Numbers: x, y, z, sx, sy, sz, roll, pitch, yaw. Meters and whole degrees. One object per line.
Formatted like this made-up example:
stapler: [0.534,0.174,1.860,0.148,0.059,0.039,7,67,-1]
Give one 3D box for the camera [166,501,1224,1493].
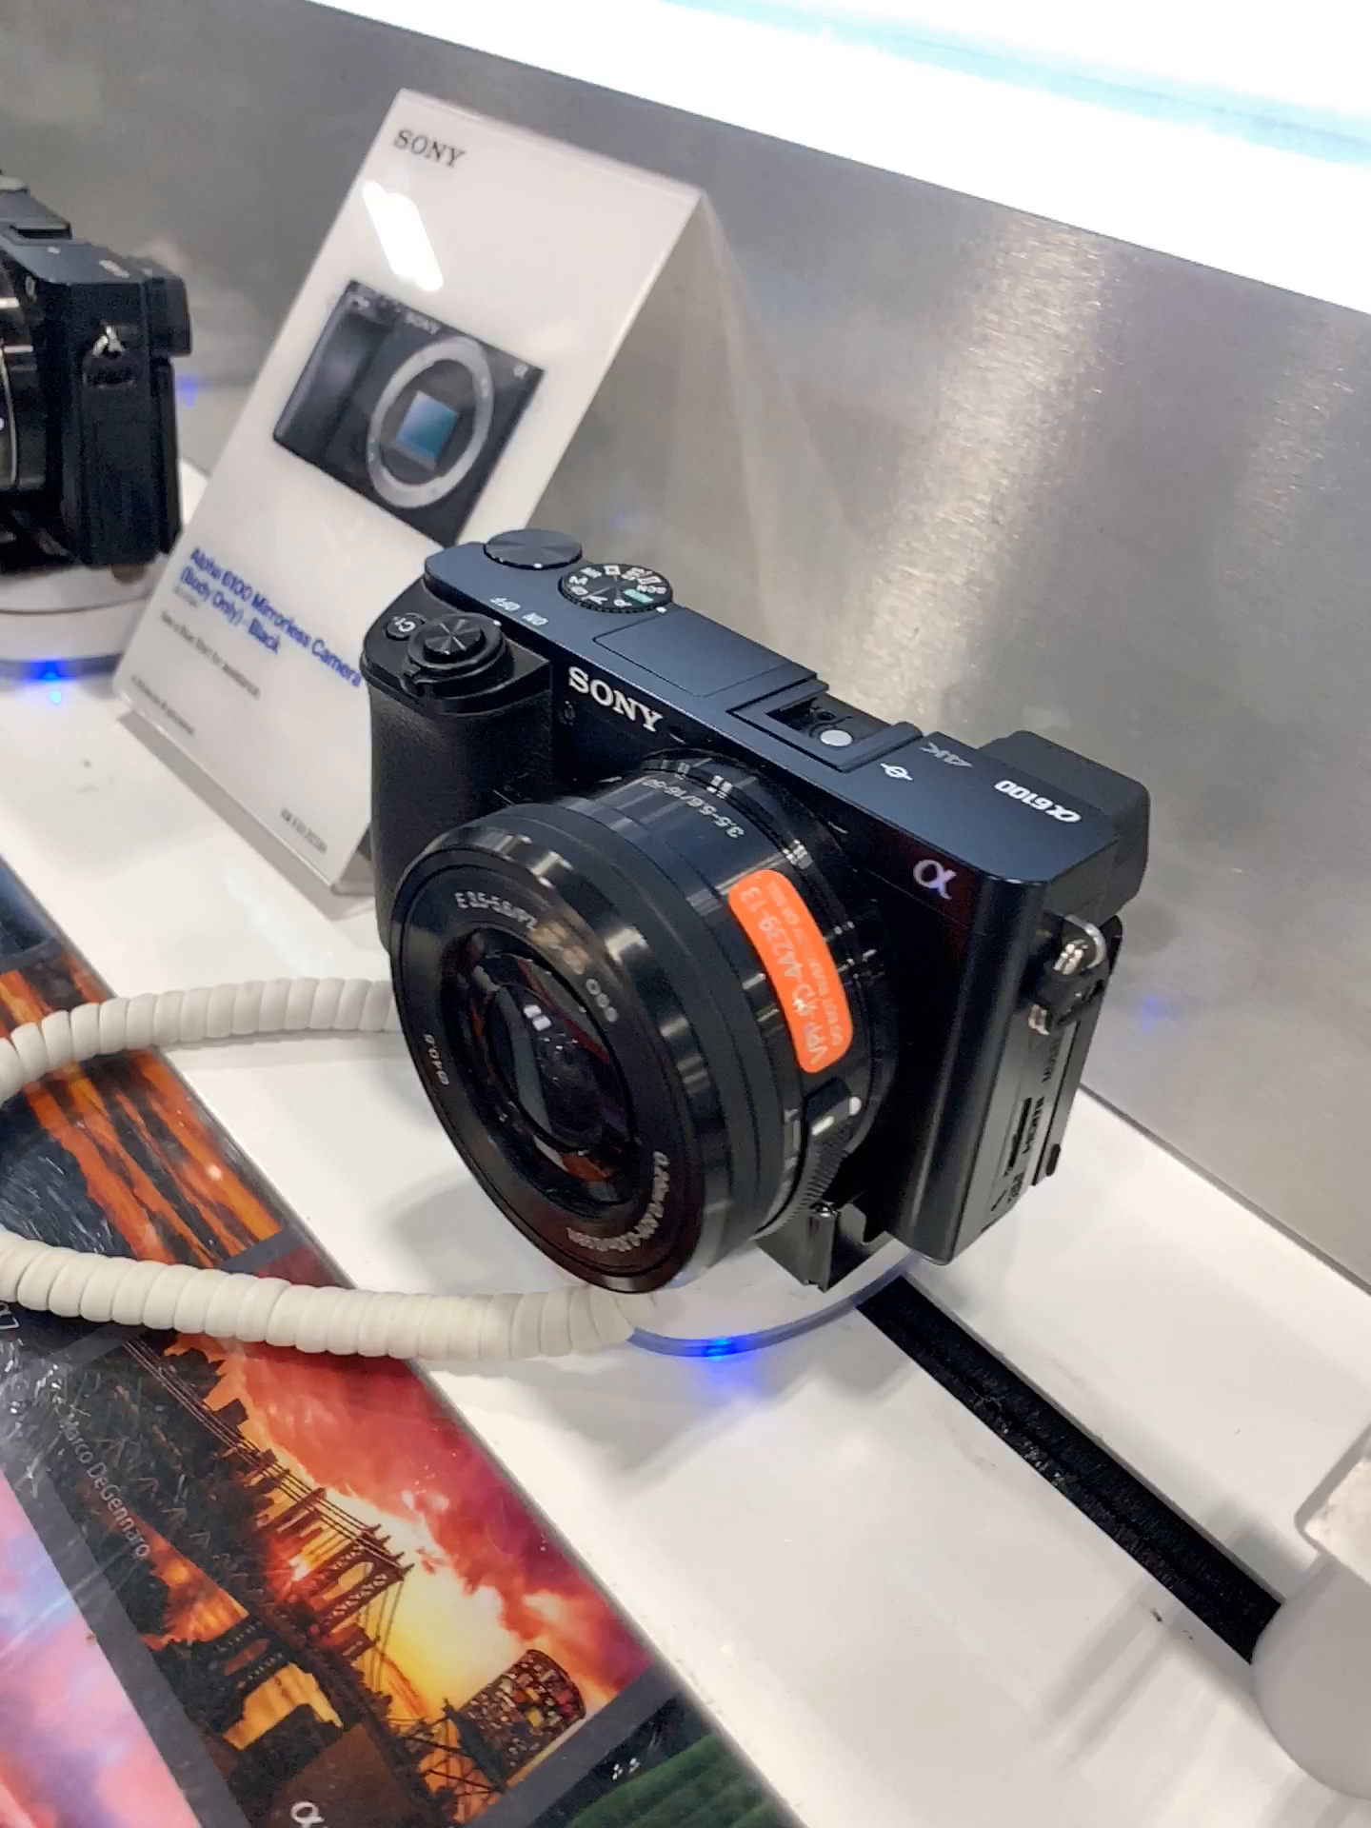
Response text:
camera: [-0.004,0.002,0.207,0.121,0.070,0.070,31,45,28]
